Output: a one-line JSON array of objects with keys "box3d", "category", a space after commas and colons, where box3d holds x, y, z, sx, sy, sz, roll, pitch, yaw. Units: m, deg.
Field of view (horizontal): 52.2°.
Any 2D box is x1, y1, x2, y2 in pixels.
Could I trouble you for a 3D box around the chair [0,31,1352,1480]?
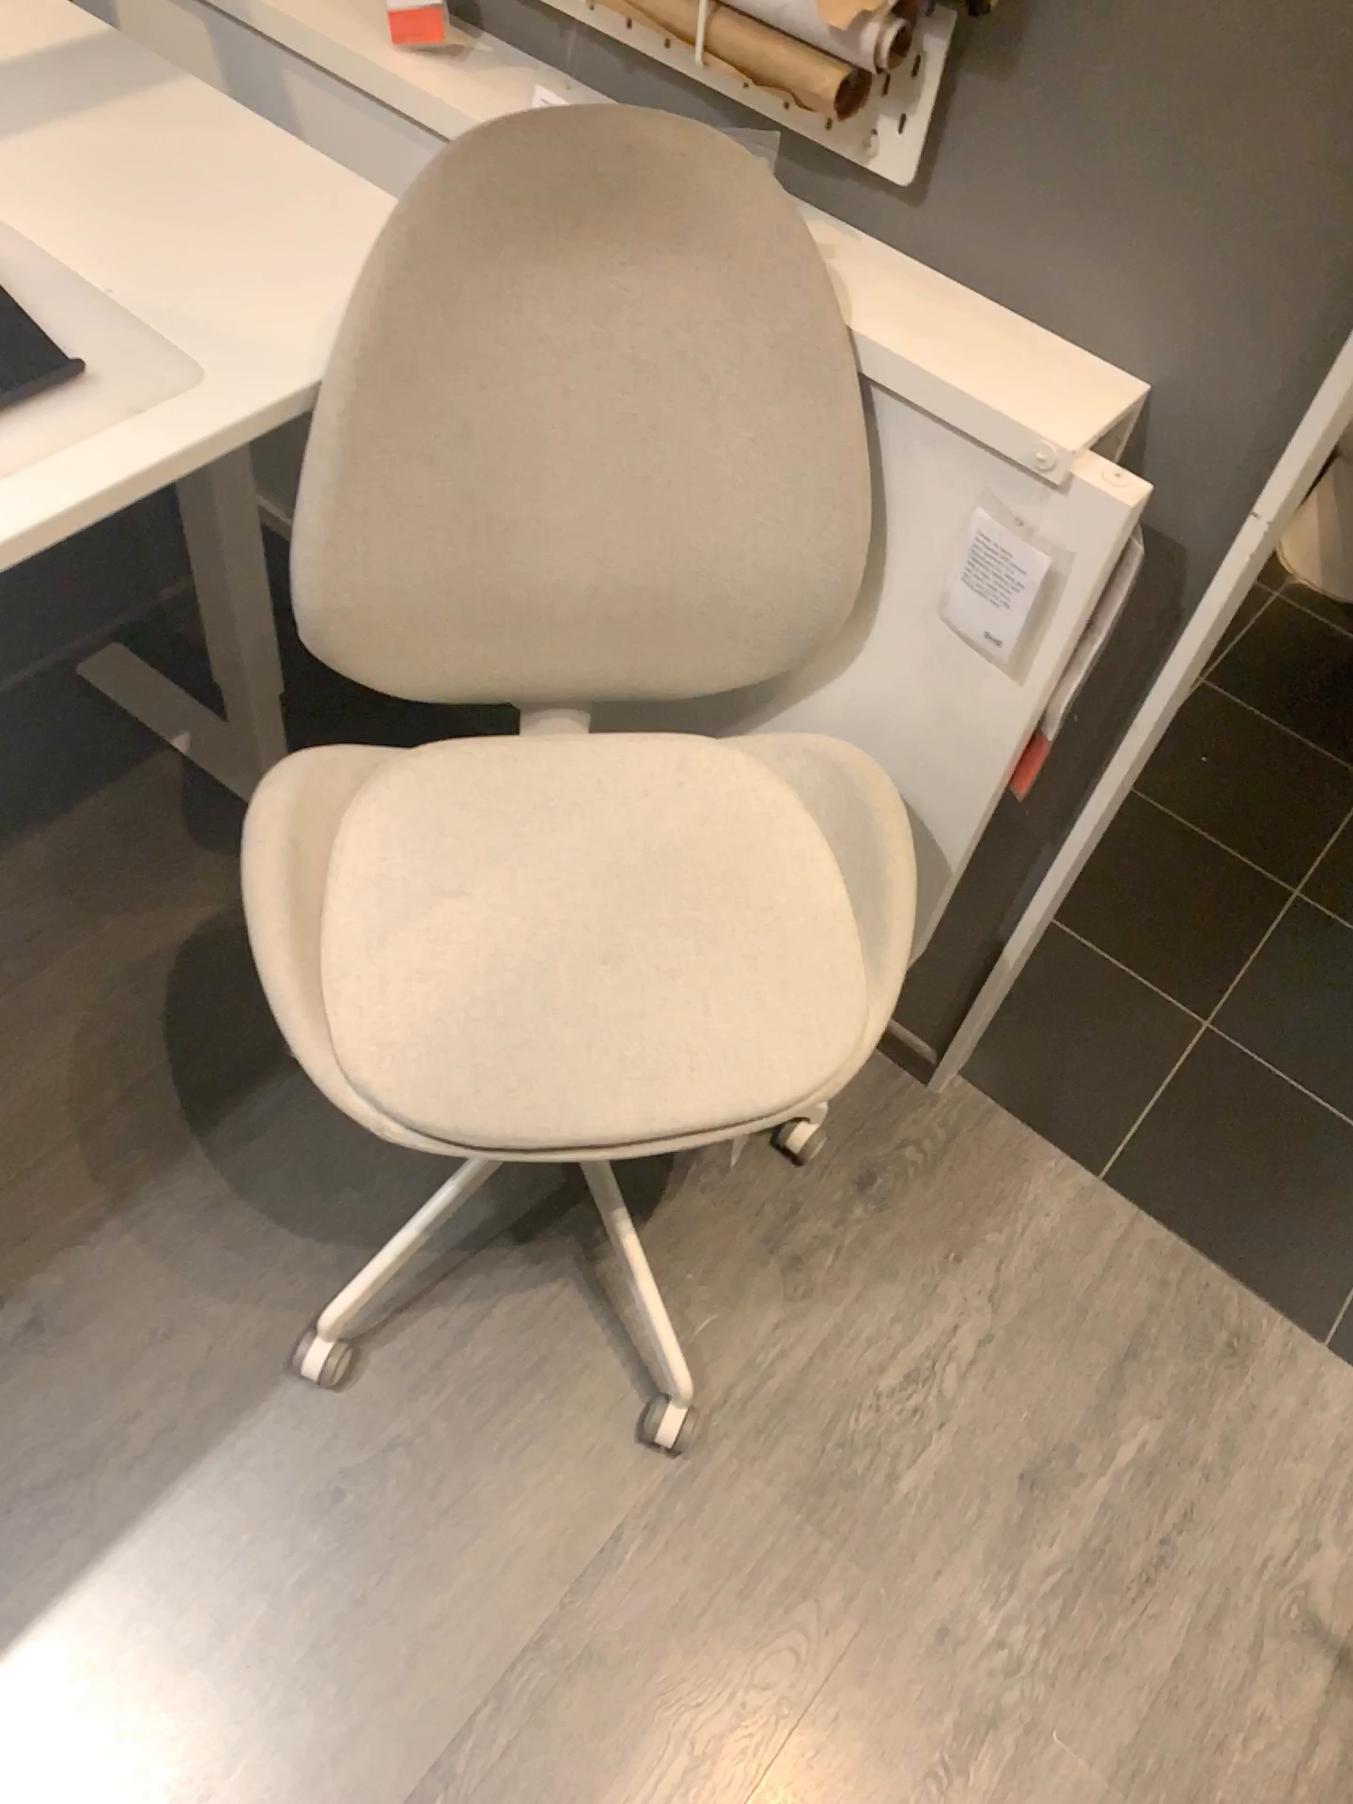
[{"box3d": [-0.059, 0.010, 1.058, 0.610, 0.937, 0.592, 3, 53, -7], "category": "chair"}]
